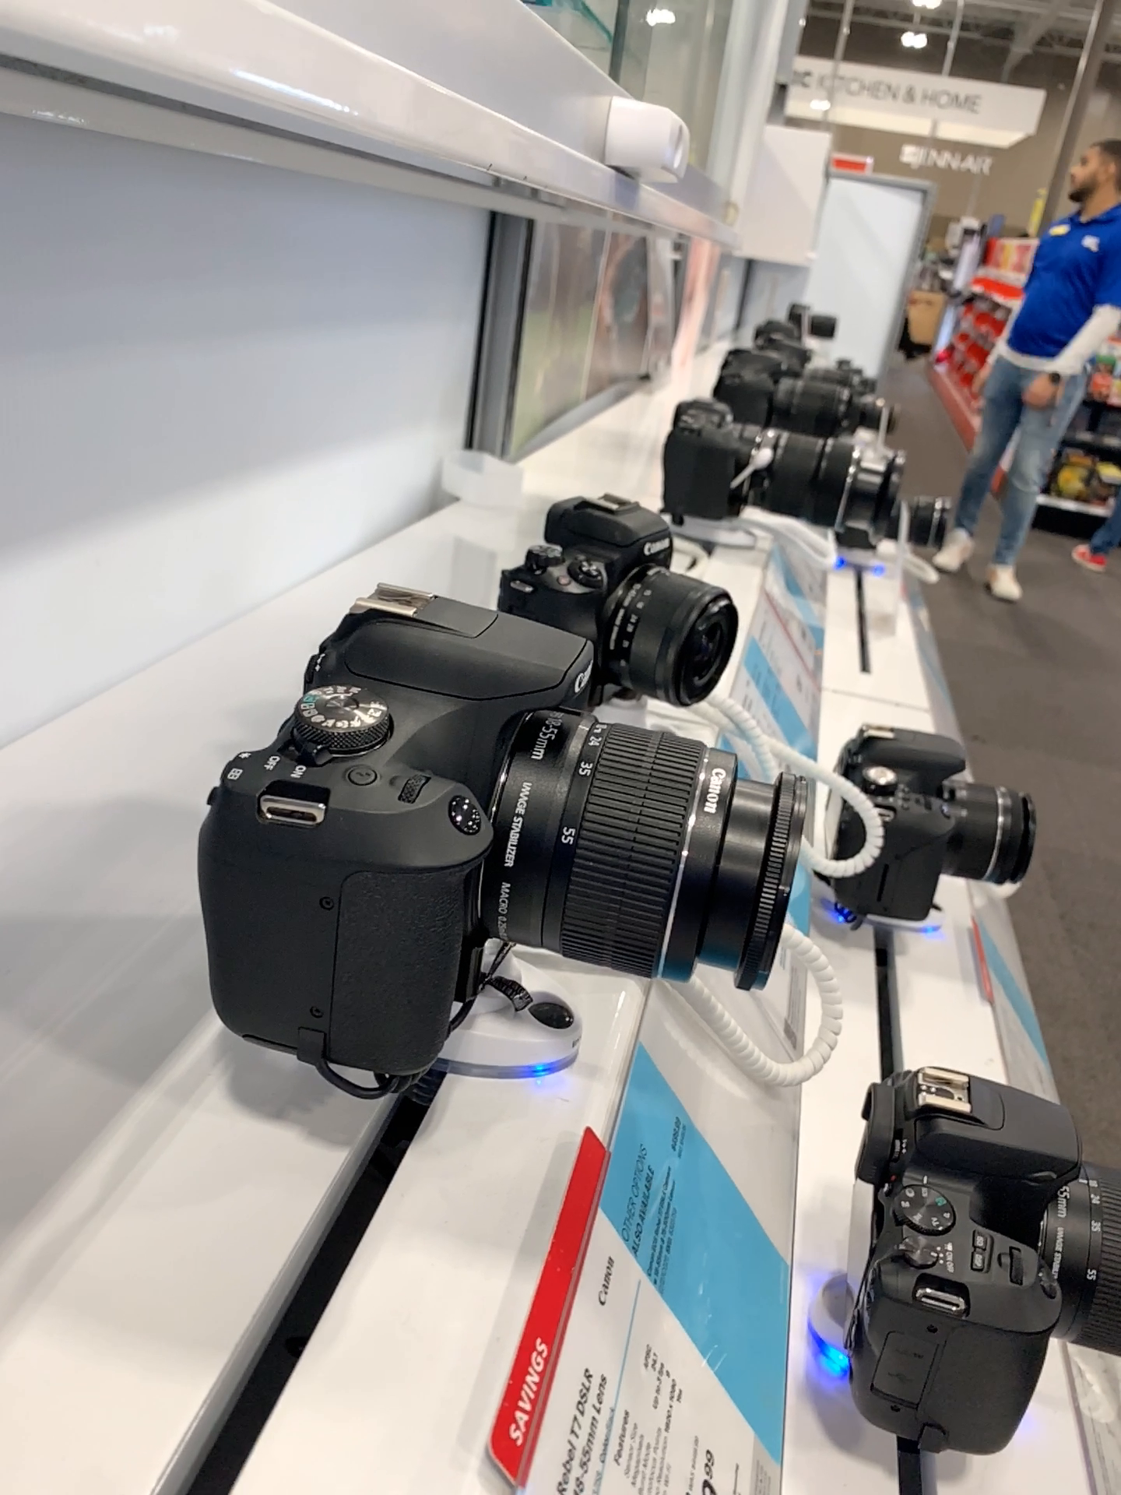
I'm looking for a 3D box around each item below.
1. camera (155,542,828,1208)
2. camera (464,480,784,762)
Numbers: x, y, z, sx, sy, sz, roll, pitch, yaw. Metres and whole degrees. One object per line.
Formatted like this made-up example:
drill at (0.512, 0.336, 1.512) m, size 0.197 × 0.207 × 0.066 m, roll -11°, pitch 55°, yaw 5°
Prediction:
camera at (-0.011, 0.021, 0.312) m, size 0.141 × 0.100 × 0.126 m, roll 13°, pitch 25°, yaw 8°
camera at (0.033, -0.065, 0.540) m, size 0.102 × 0.080 × 0.121 m, roll 17°, pitch 26°, yaw 17°
